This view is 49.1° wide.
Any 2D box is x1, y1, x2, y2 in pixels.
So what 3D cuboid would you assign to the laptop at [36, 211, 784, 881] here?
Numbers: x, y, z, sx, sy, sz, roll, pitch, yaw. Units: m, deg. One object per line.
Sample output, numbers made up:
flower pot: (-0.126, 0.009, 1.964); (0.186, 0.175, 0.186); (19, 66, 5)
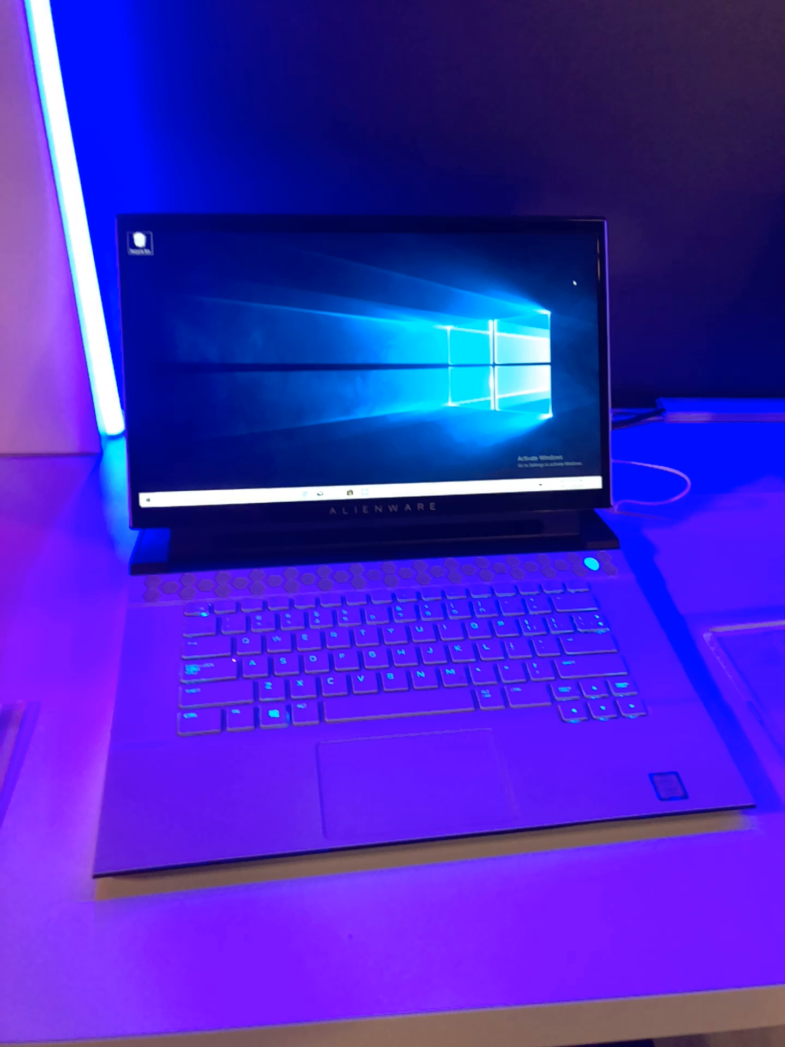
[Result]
laptop: (0.014, -0.025, 0.544); (0.356, 0.194, 0.381); (-2, 40, -7)
